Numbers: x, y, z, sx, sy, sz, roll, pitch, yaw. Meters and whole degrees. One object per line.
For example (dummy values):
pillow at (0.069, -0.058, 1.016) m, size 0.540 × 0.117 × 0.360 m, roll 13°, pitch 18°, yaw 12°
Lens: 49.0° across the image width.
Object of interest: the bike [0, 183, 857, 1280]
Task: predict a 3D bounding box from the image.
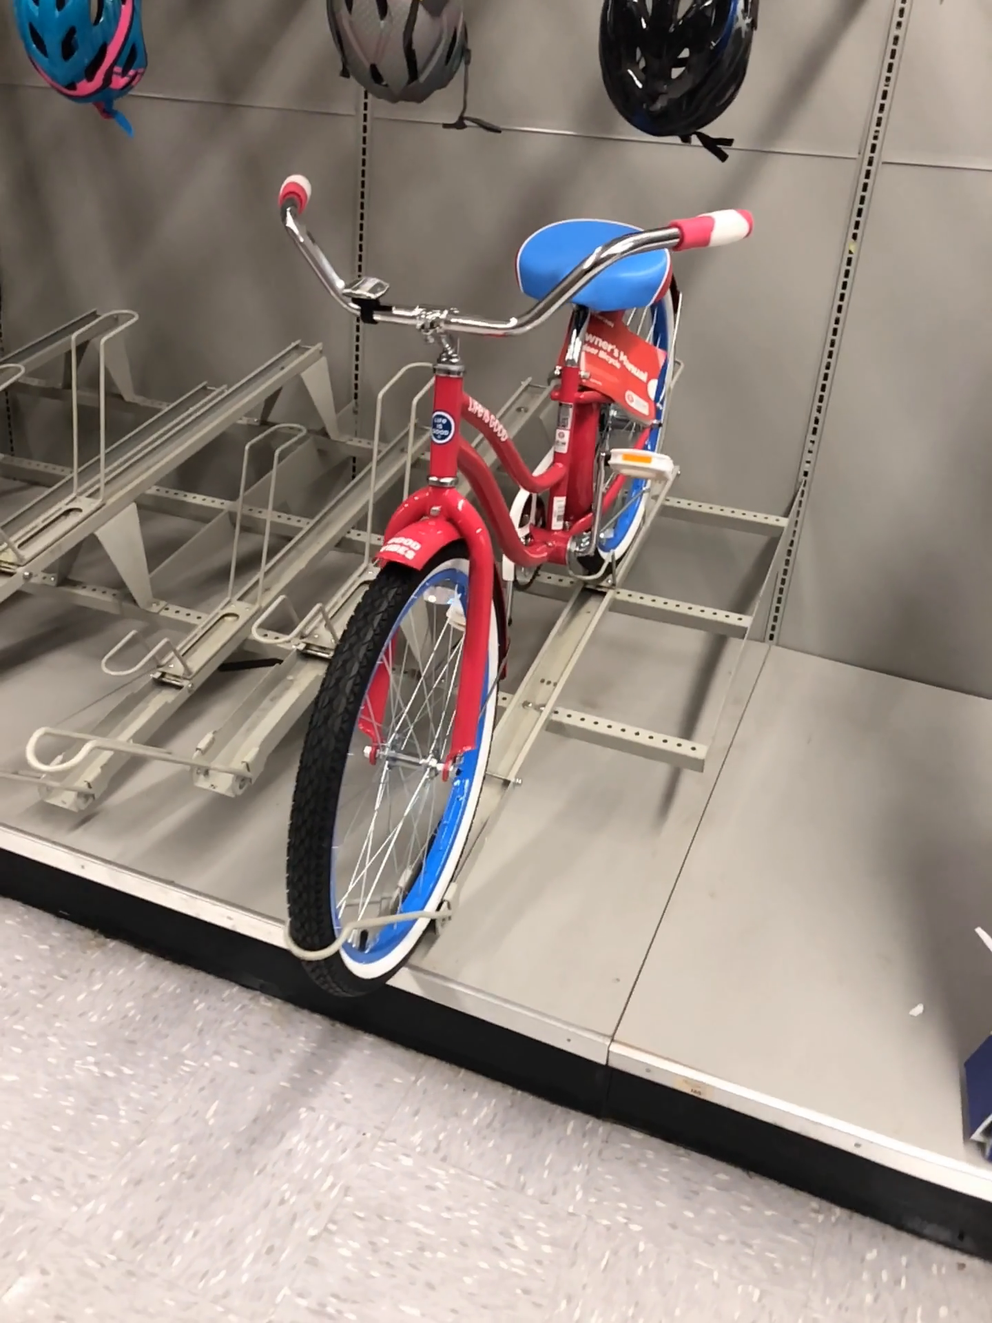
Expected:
bike at (0.011, -0.148, 1.860) m, size 0.811 × 0.676 × 1.614 m, roll 13°, pitch 40°, yaw 17°
